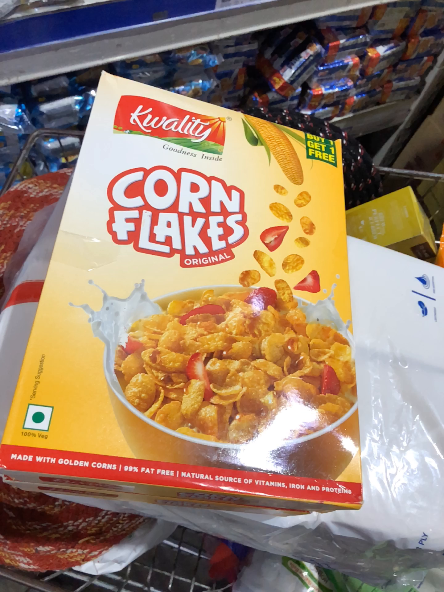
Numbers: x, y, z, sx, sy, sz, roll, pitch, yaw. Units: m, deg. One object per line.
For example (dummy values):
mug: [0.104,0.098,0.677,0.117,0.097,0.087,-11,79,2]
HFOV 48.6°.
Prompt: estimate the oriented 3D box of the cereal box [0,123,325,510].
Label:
cereal box: [-0.030,0.014,0.378,0.200,0.070,0.261,10,64,-12]

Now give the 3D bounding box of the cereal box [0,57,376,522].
cereal box: [-0.013,-0.009,0.309,0.190,0.060,0.261,10,64,-12]
